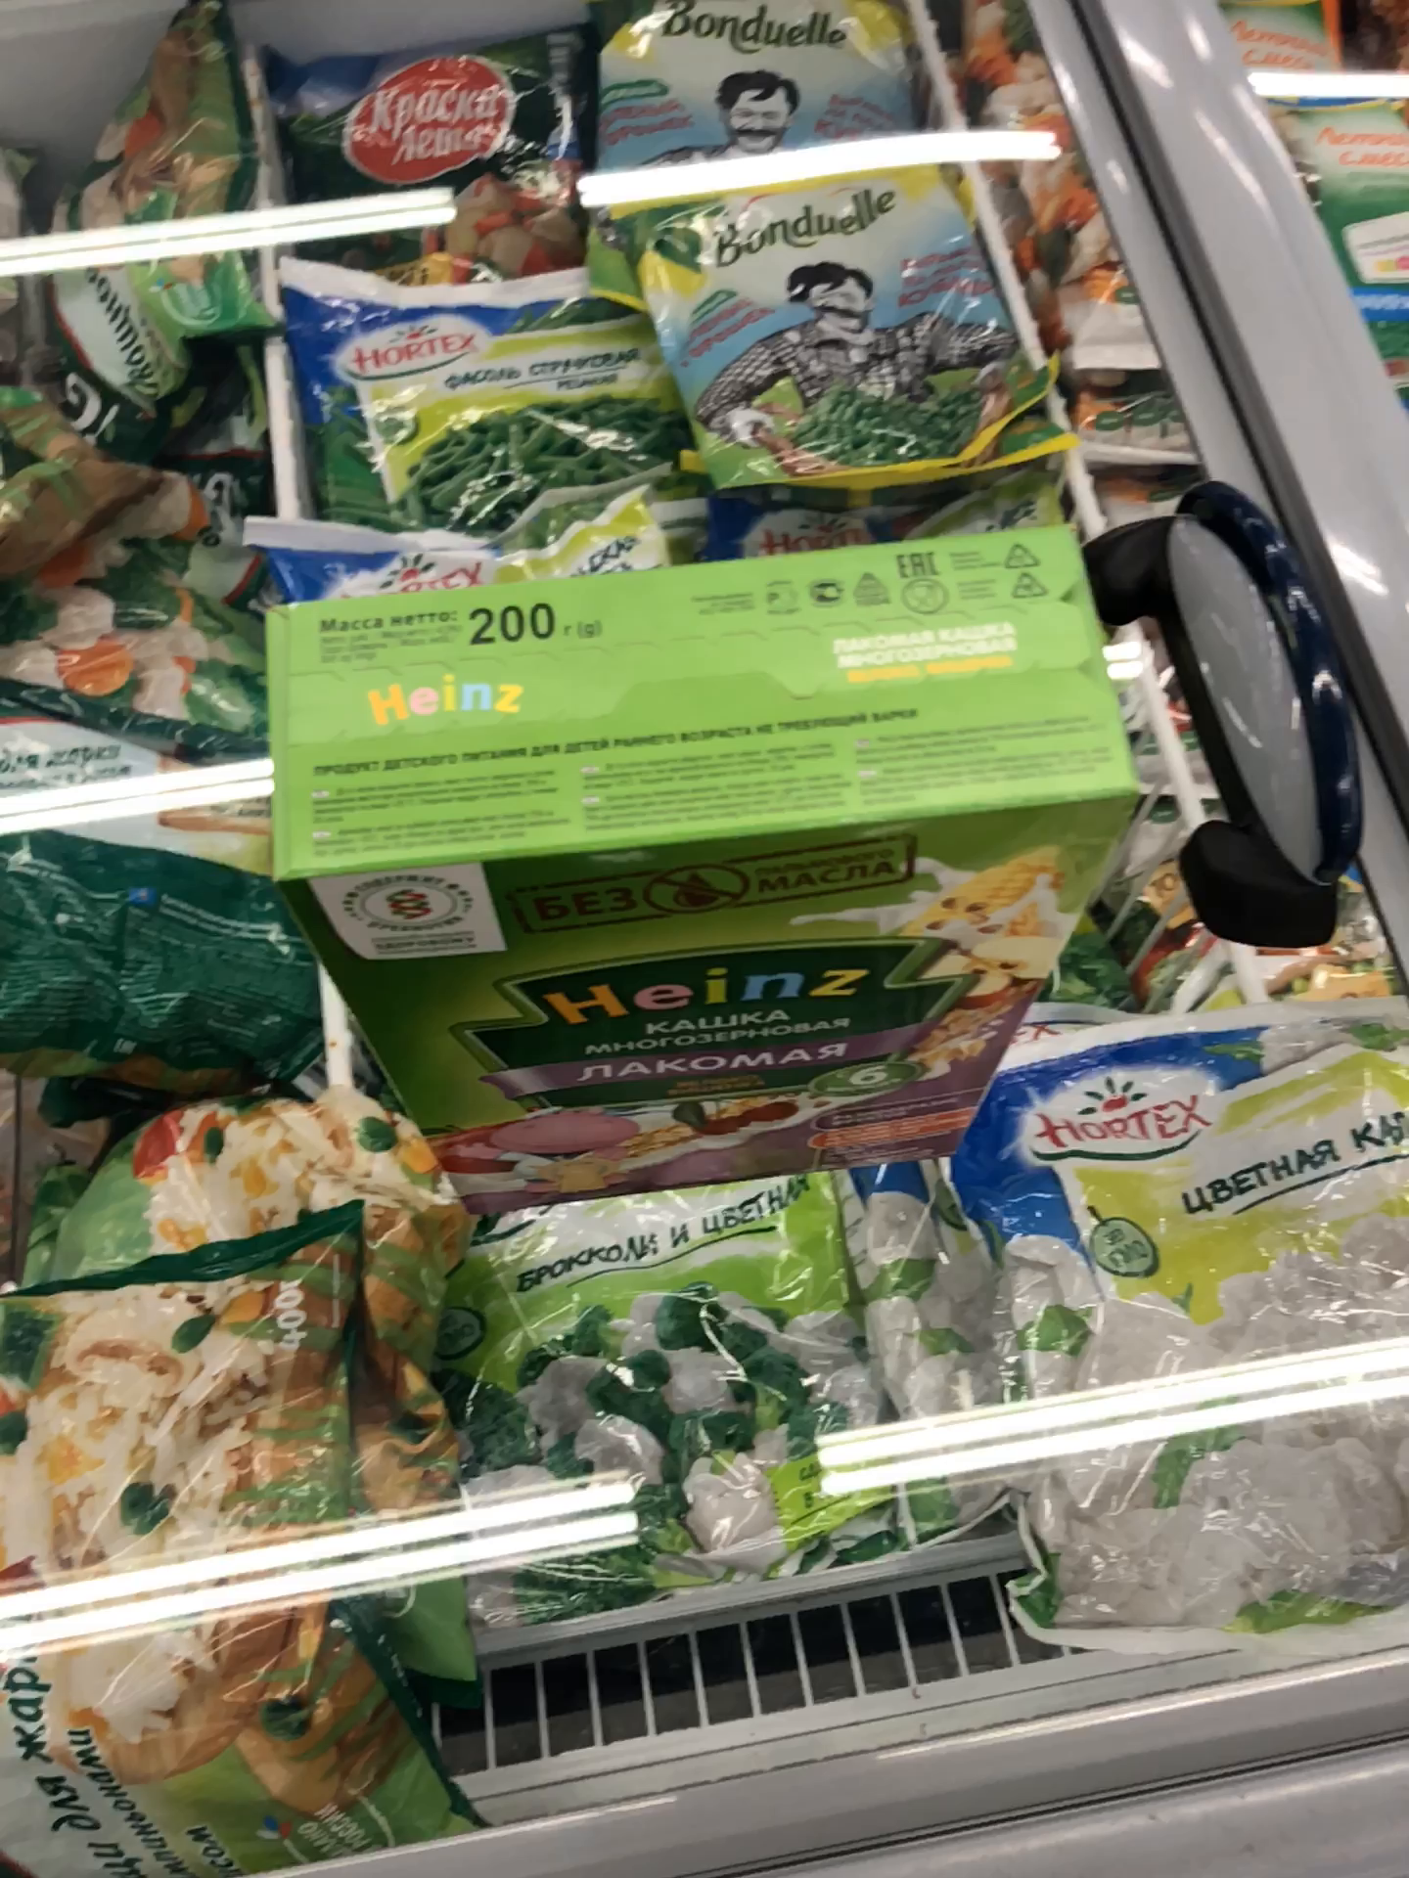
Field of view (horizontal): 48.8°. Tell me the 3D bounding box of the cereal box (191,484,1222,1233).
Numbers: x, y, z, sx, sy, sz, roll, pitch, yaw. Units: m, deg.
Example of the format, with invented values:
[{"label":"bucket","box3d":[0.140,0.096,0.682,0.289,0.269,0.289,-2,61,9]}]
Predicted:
[{"label":"cereal box","box3d":[-0.001,0.003,0.311,0.140,0.199,0.050,-6,66,-2]}]
